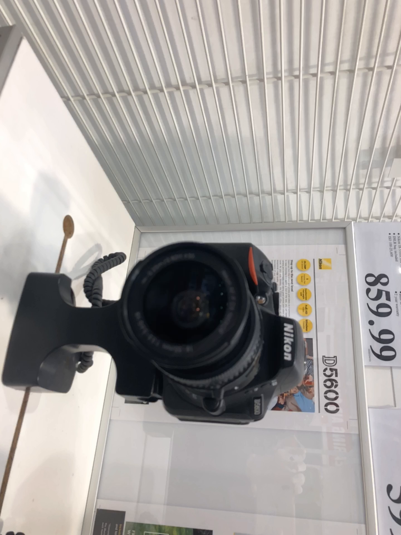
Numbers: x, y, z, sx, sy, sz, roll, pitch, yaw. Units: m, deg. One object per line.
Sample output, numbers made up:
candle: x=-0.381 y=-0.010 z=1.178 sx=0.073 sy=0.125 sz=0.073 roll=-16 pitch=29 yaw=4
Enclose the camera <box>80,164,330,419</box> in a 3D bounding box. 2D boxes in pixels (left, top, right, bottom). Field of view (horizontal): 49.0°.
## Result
camera: x=0.016 y=0.031 z=0.285 sx=0.160 sy=0.110 sz=0.120 roll=63 pitch=28 yaw=-68
